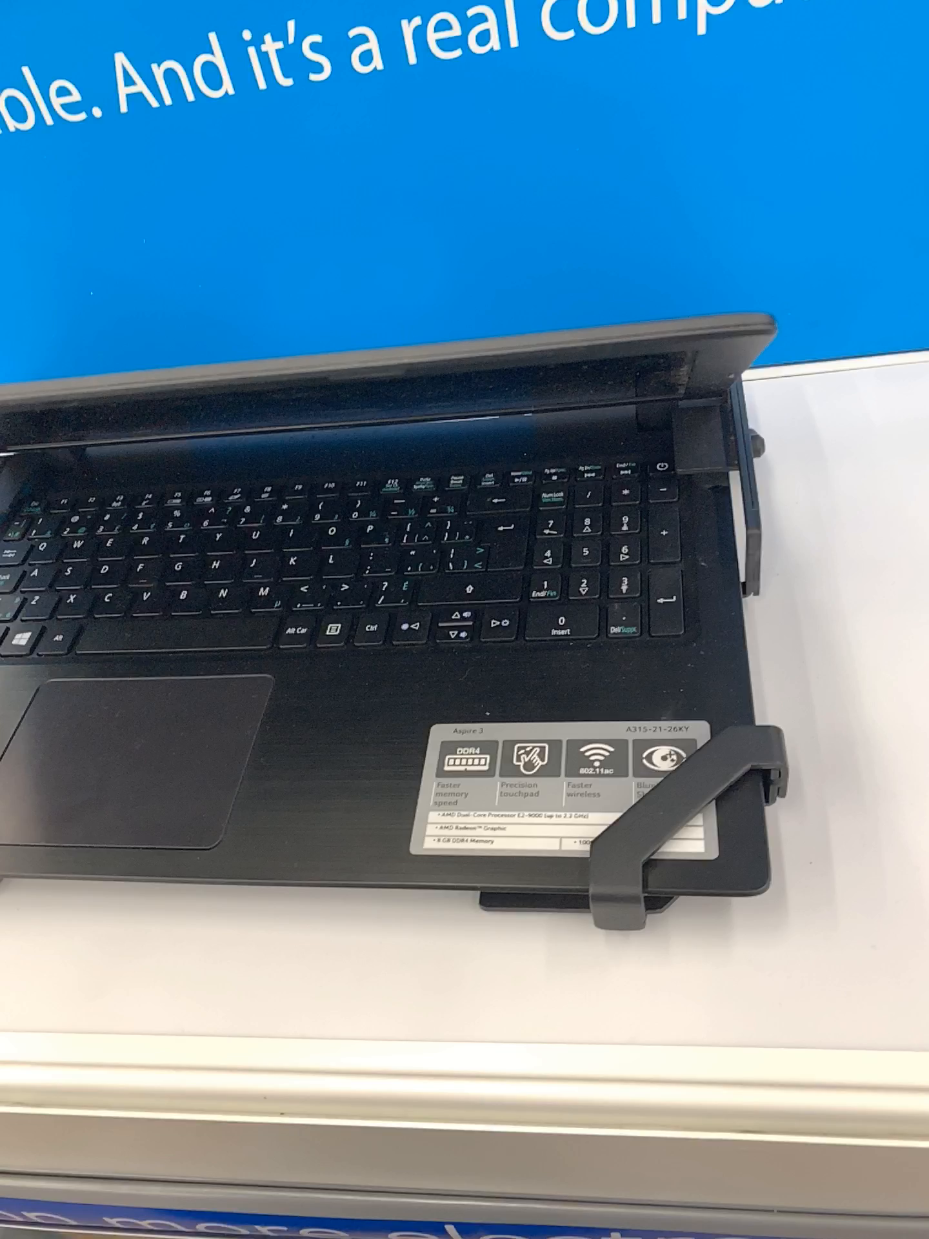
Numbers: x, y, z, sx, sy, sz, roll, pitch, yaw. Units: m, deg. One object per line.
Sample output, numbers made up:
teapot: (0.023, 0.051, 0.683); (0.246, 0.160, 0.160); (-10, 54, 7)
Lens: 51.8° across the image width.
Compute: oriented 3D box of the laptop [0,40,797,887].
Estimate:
laptop: (-0.090, -0.053, 0.344); (0.365, 0.146, 0.234); (-2, 49, 12)
